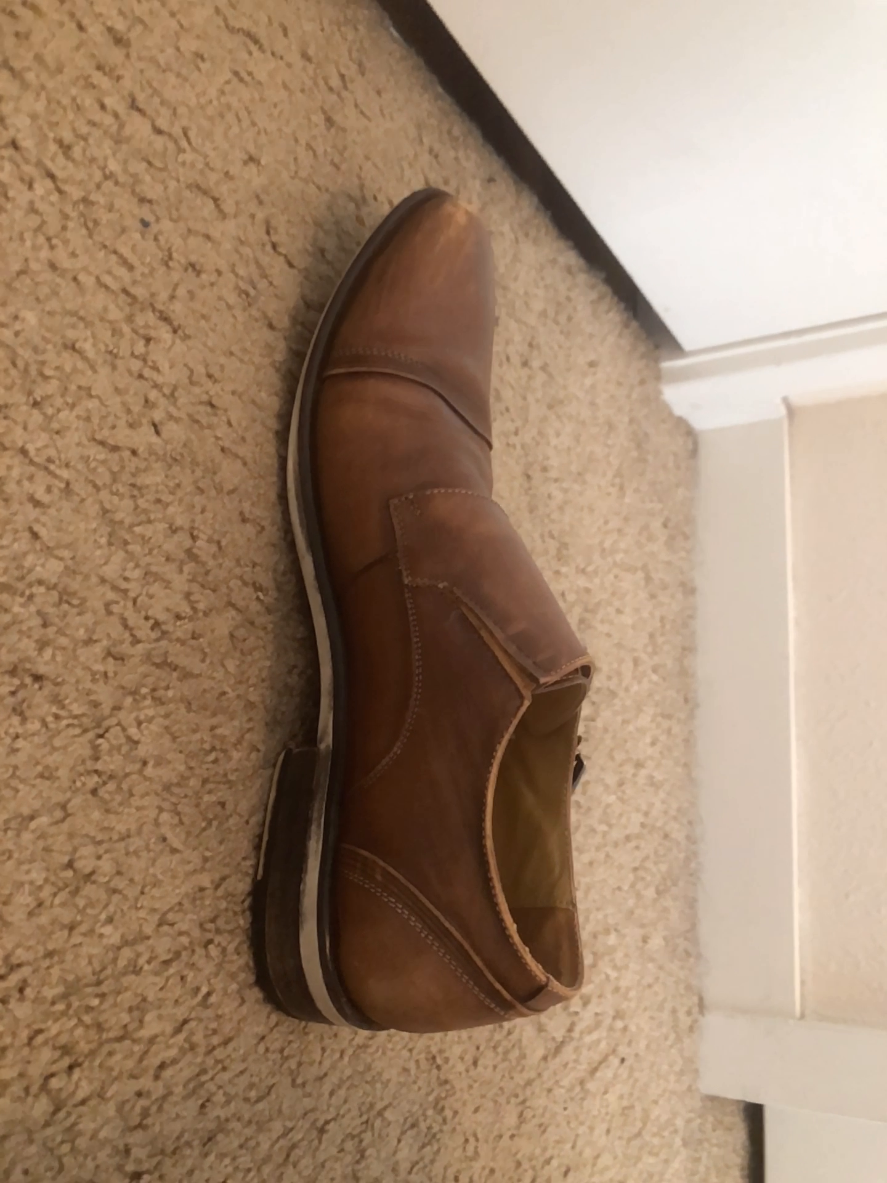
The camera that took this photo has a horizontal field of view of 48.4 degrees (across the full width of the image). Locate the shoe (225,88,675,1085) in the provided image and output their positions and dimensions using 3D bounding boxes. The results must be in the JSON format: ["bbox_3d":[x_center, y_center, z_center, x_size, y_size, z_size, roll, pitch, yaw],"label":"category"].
[{"bbox_3d":[0.012,-0.003,0.344,0.100,0.106,0.286,23,67,-57],"label":"shoe"}]
